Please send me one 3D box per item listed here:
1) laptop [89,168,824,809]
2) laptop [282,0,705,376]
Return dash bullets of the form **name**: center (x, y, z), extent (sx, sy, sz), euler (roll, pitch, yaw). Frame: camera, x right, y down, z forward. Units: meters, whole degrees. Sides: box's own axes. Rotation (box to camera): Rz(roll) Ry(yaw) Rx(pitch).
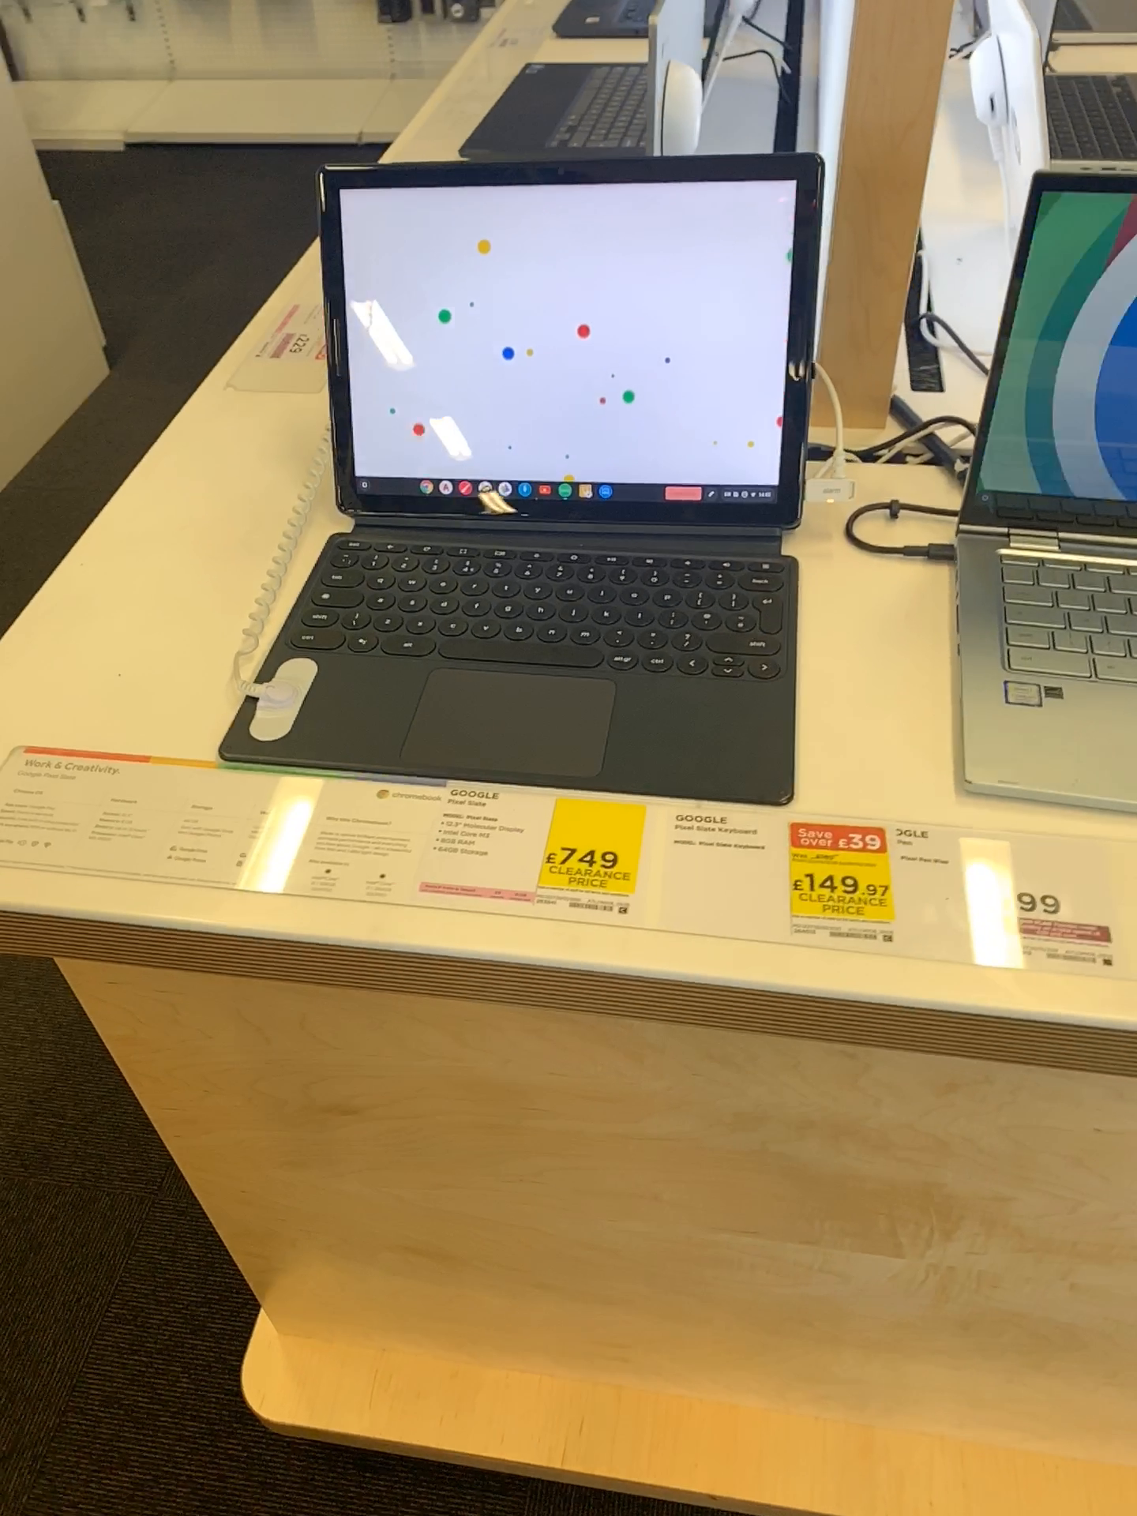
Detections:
- **laptop**: center (-0.023, -0.156, 0.610), extent (0.285, 0.187, 0.295), euler (4, 45, 7)
- **laptop**: center (-0.030, -0.484, 0.900), extent (0.232, 0.222, 0.321), euler (5, 46, 8)
